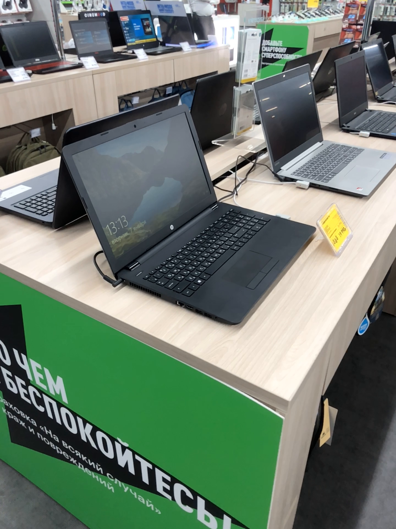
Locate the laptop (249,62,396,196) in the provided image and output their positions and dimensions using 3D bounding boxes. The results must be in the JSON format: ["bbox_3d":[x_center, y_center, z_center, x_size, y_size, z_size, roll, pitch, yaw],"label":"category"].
[{"bbox_3d":[0.389,-0.411,1.248,0.339,0.226,0.372,21,39,29],"label":"laptop"}]

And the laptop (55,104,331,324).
[{"bbox_3d":[0.012,-0.135,0.829,0.341,0.217,0.378,19,37,26],"label":"laptop"}]
